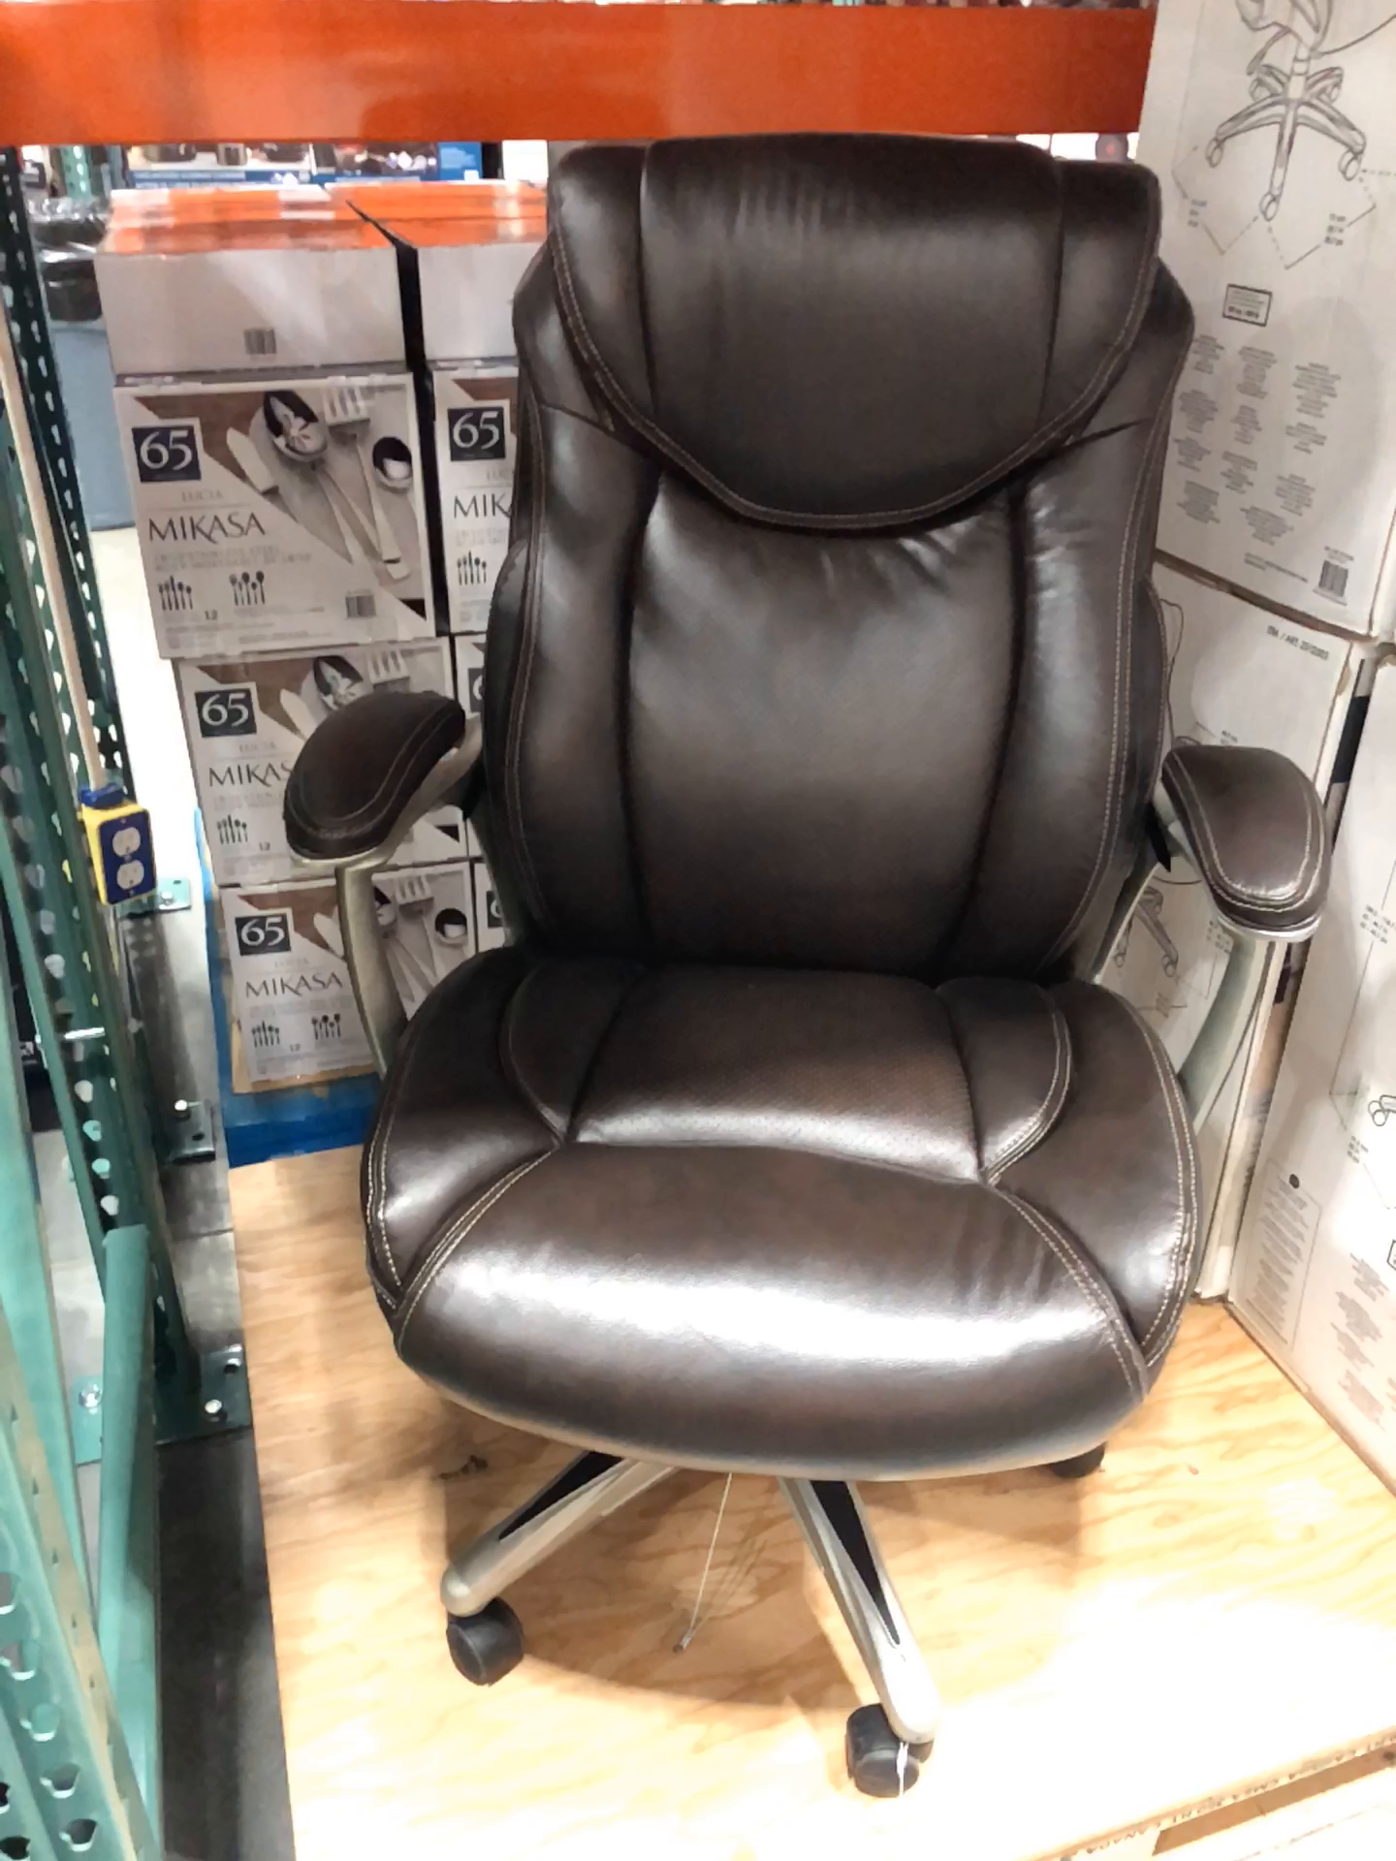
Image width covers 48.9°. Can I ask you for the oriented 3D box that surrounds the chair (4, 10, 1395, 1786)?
[{"bbox_3d":[0.065,-0.041,1.156,0.660,1.095,0.723,1,29,0],"label":"chair"}]
